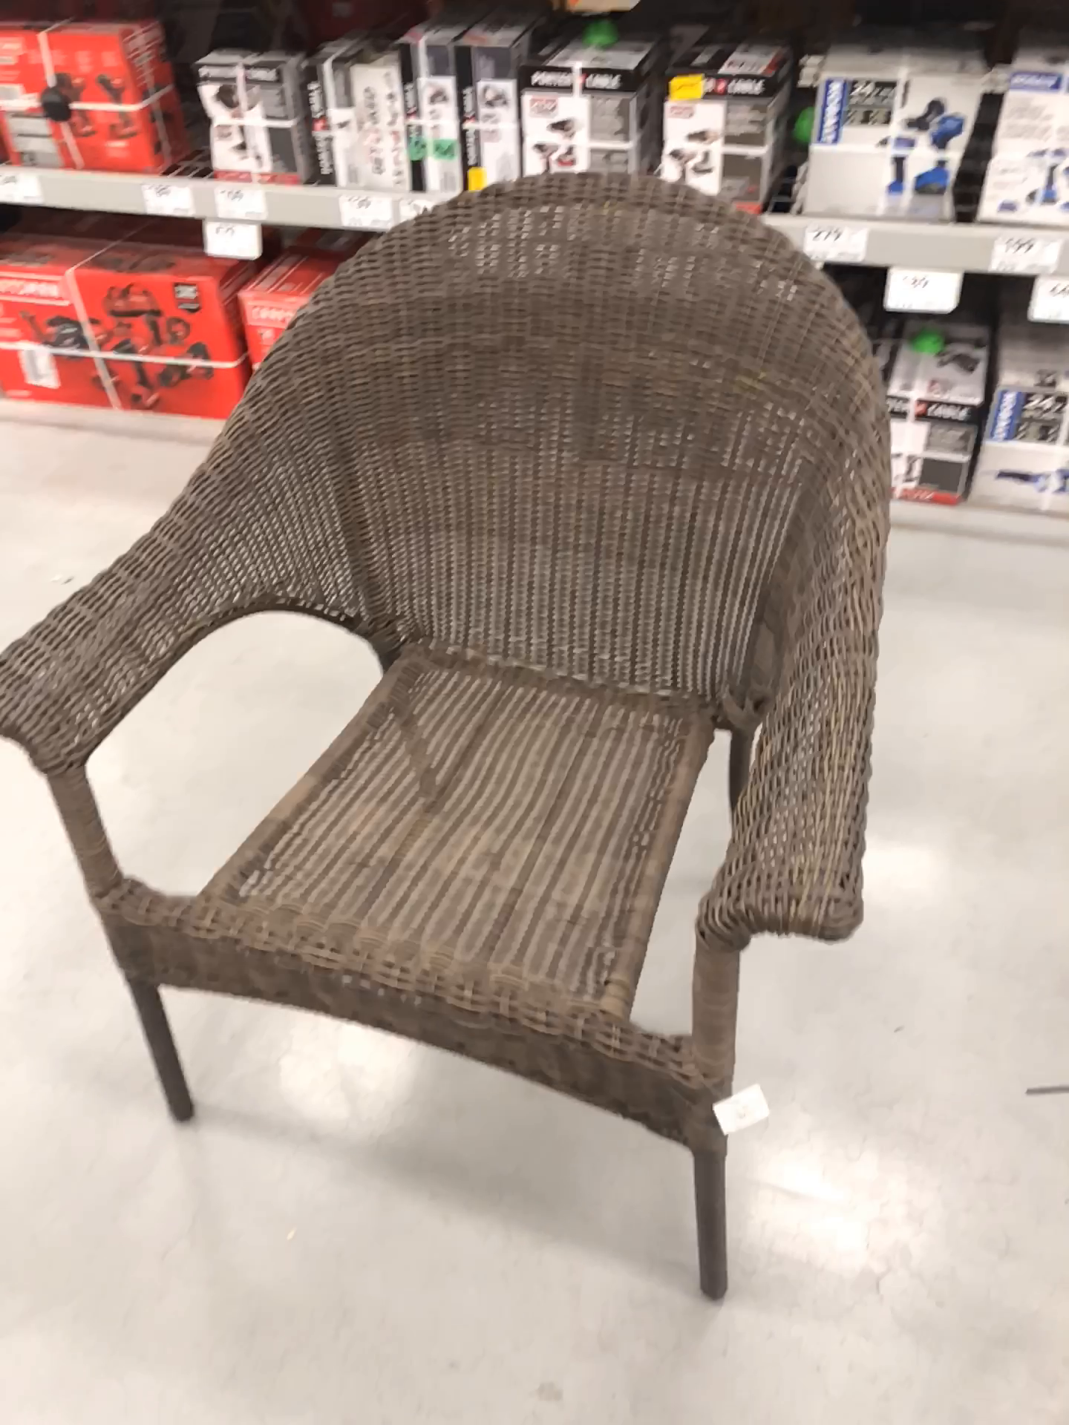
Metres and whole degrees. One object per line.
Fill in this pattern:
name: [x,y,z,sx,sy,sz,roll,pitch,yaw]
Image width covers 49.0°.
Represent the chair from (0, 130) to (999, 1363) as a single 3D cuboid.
chair: [-0.023,-0.015,1.164,0.720,0.797,0.763,11,44,15]
